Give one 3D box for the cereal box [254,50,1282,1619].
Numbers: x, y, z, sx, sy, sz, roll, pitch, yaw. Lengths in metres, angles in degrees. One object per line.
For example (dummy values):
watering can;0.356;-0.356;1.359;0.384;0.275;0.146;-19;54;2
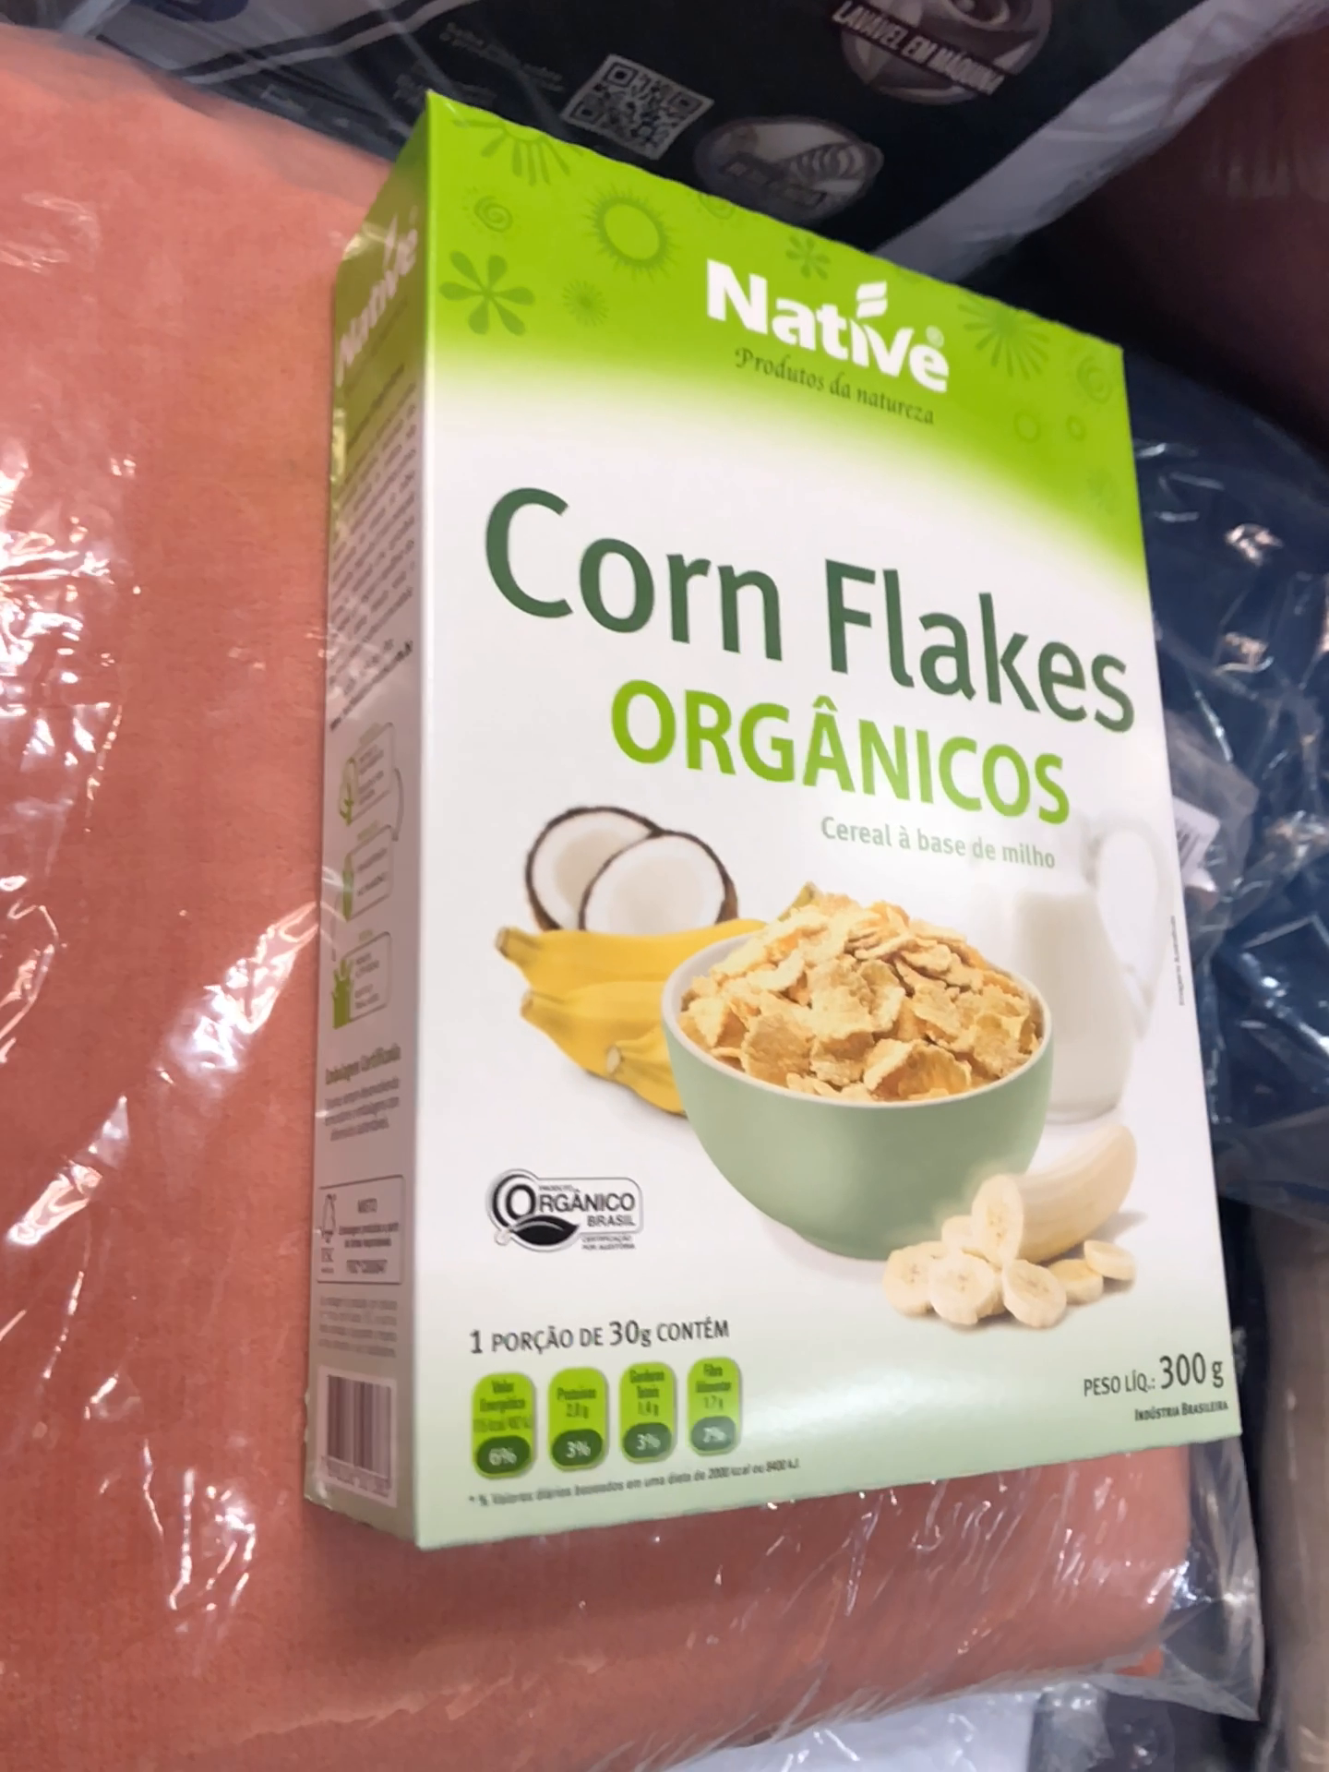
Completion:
cereal box;0.022;-0.008;0.290;0.181;0.060;0.240;7;74;-31
